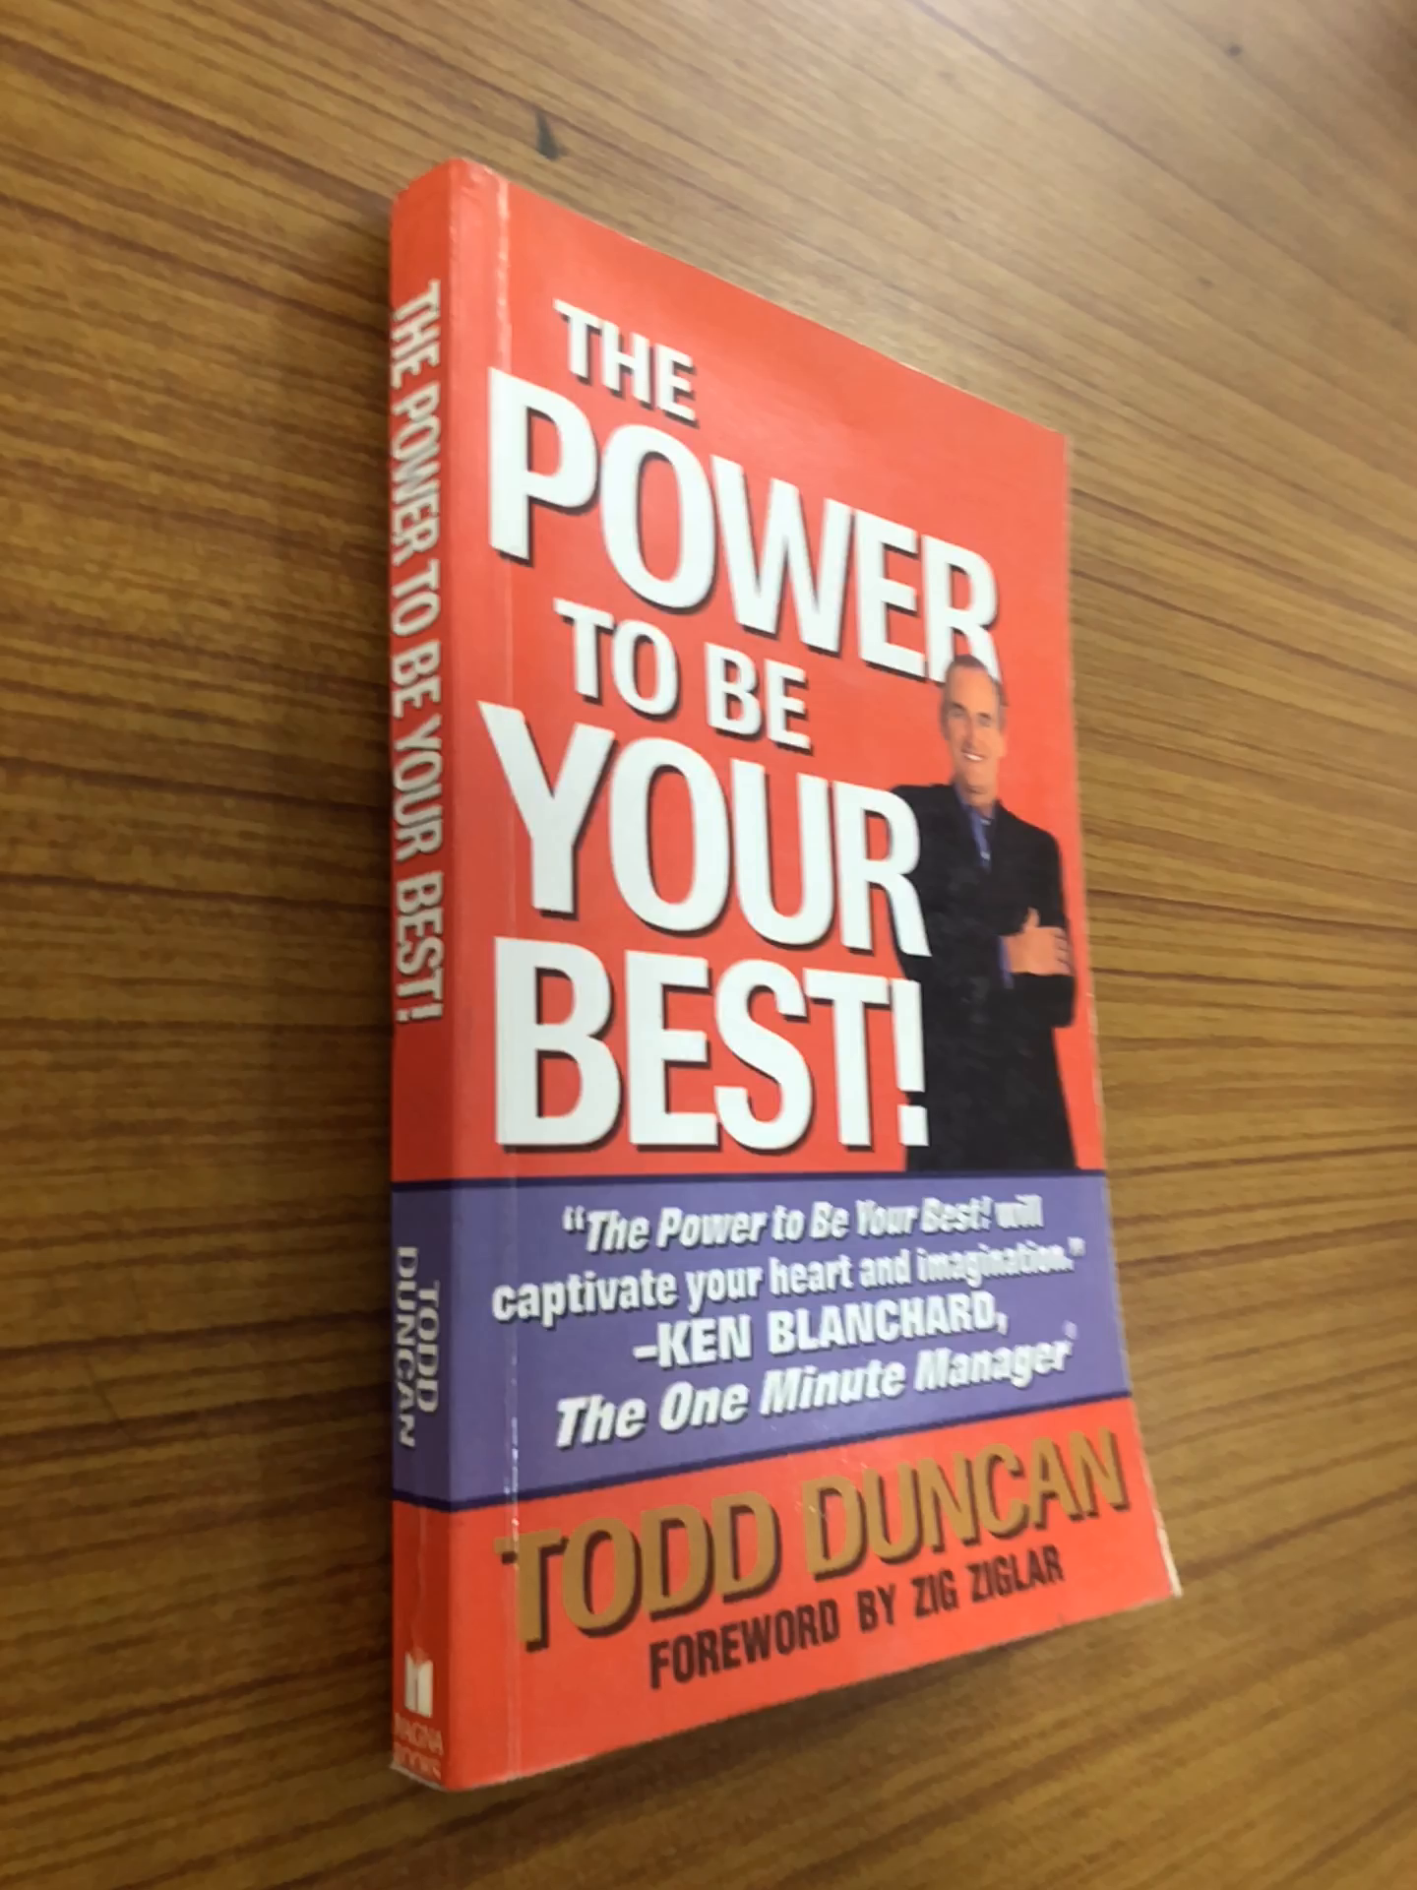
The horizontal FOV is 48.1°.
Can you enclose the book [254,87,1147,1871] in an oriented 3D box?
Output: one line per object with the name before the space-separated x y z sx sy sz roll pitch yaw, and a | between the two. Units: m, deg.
book | 0.007 0.003 0.254 0.151 0.030 0.220 7 78 -41
